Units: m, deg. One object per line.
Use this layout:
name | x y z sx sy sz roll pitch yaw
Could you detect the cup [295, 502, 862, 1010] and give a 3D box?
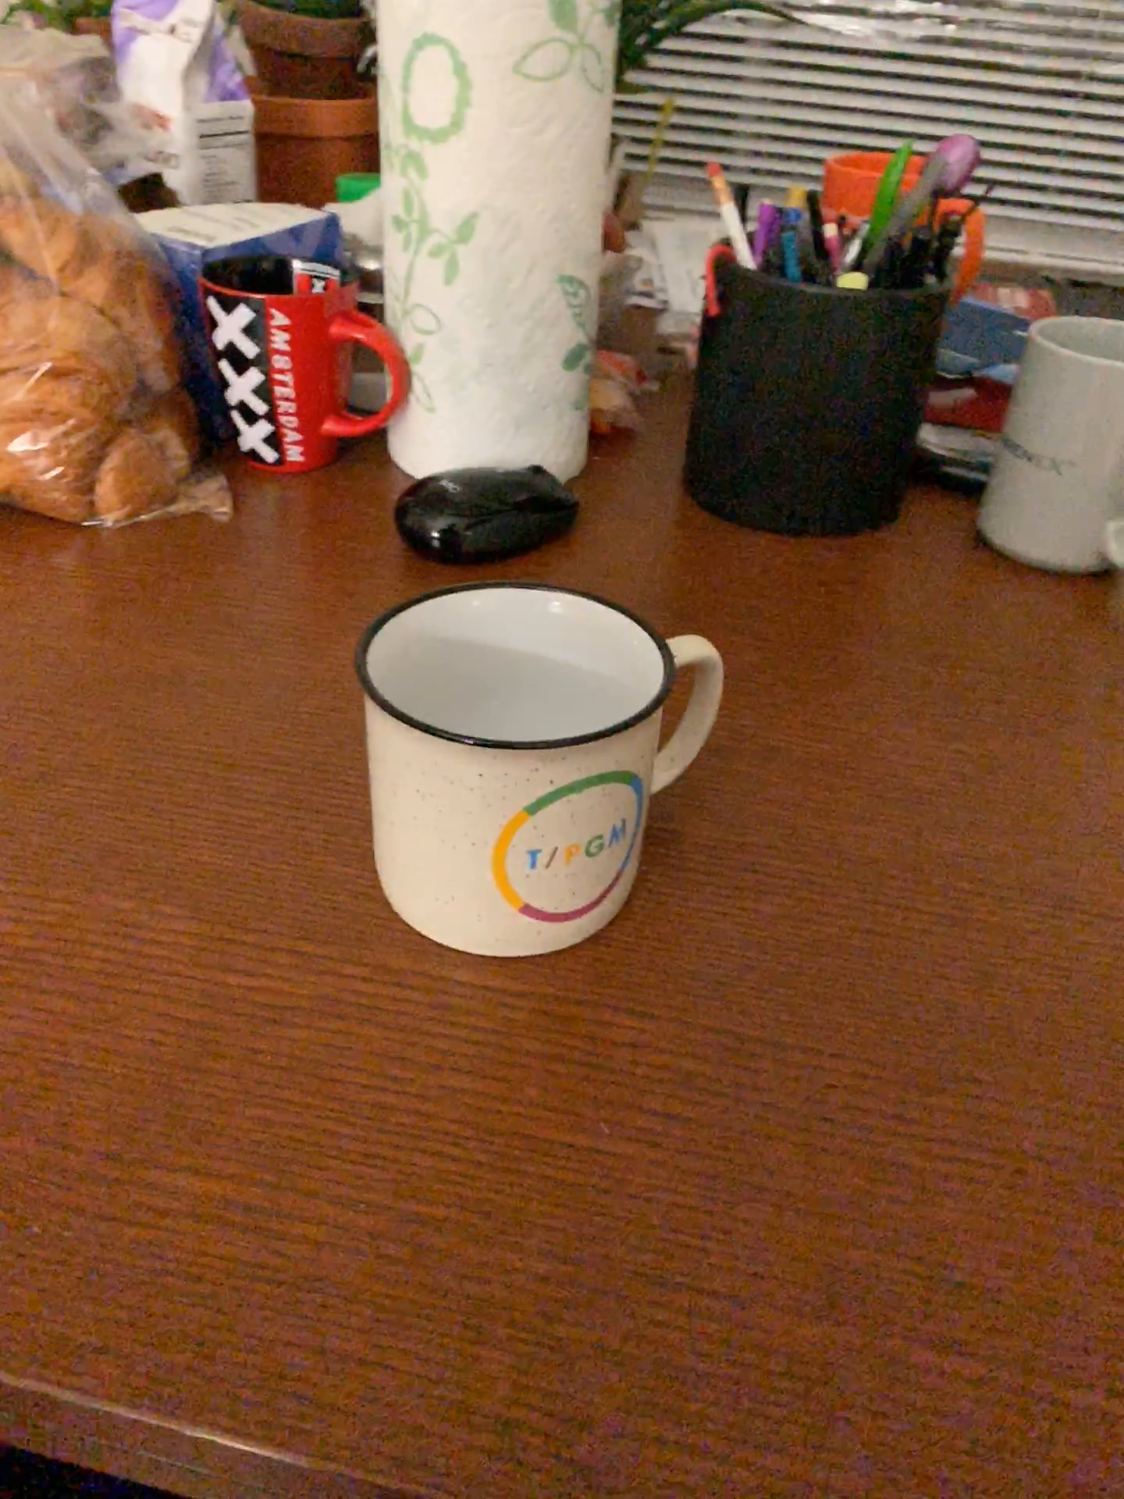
cup | 0.002 -0.006 0.396 0.150 0.099 0.101 -18 41 -28
